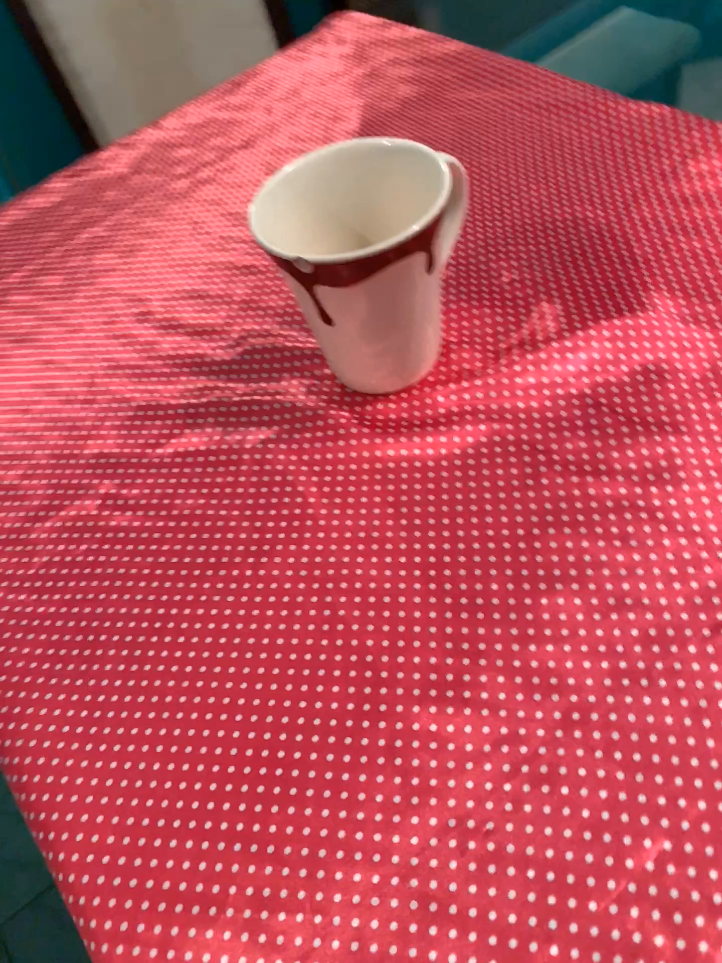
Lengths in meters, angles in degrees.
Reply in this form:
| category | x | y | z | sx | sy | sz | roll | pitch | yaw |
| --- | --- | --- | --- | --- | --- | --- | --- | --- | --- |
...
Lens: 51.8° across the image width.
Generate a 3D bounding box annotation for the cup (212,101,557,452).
| category | x | y | z | sx | sy | sz | roll | pitch | yaw |
| --- | --- | --- | --- | --- | --- | --- | --- | --- | --- |
| cup | 0.019 | -0.107 | 0.373 | 0.100 | 0.090 | 0.130 | 29 | 64 | 31 |
